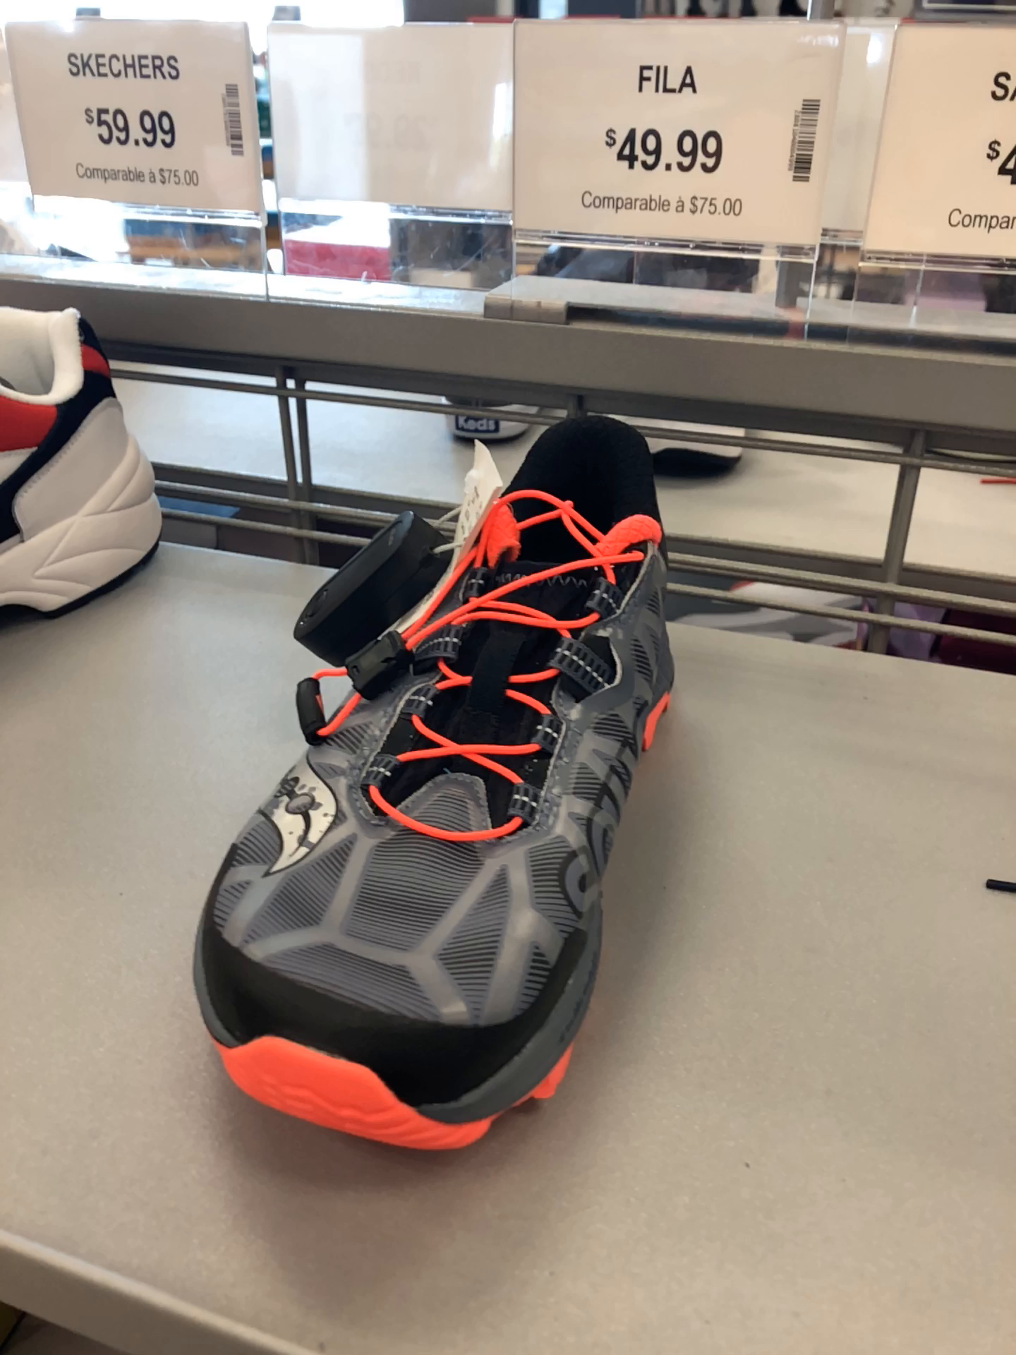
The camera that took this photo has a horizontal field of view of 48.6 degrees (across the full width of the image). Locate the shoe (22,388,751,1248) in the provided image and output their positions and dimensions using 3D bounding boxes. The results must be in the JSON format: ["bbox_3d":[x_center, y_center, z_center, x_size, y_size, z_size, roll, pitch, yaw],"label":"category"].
[{"bbox_3d":[-0.002,0.003,0.360,0.110,0.109,0.292,9,30,15],"label":"shoe"}]
